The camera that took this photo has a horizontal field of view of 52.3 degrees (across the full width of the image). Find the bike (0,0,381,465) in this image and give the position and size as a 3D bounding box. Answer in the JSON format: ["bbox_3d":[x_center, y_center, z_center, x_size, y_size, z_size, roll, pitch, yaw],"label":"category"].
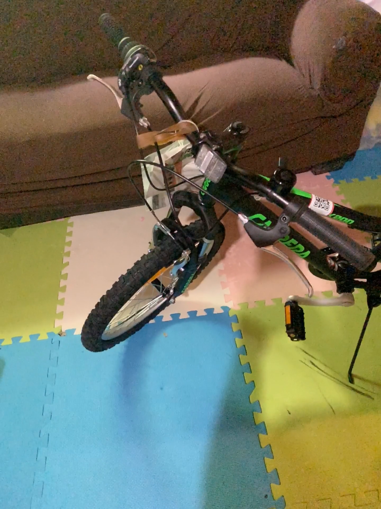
[{"bbox_3d":[0.343,0.000,0.859,1.268,0.841,0.536,-6,46,4],"label":"bike"}]
